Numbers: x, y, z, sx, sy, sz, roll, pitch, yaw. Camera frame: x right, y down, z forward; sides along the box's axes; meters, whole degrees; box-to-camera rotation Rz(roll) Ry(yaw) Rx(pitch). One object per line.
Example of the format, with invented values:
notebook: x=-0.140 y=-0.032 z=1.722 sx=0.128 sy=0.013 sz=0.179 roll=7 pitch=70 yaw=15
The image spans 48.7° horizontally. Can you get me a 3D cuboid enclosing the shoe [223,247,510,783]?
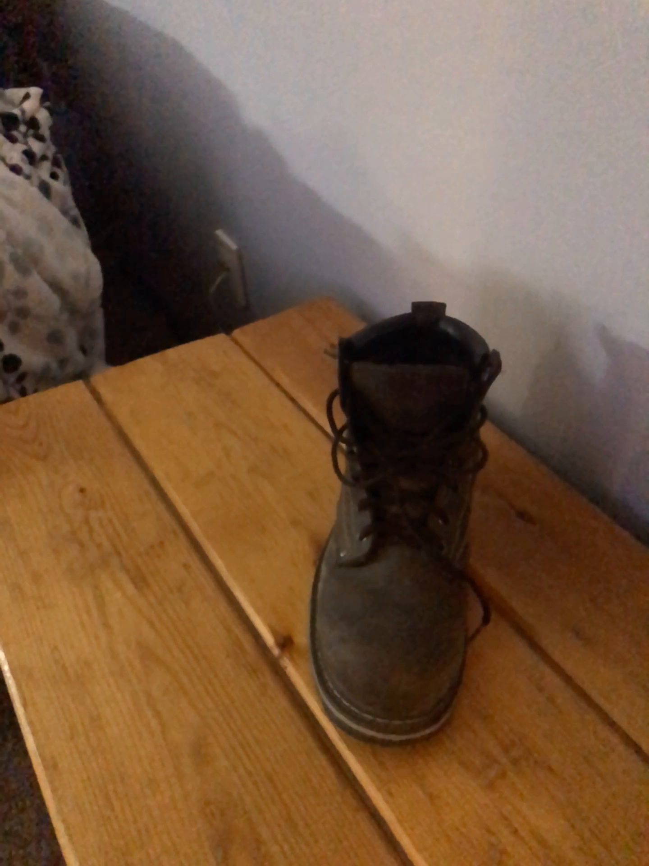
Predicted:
shoe: x=0.049 y=0.034 z=0.512 sx=0.130 sy=0.189 sz=0.321 roll=7 pitch=42 yaw=9
